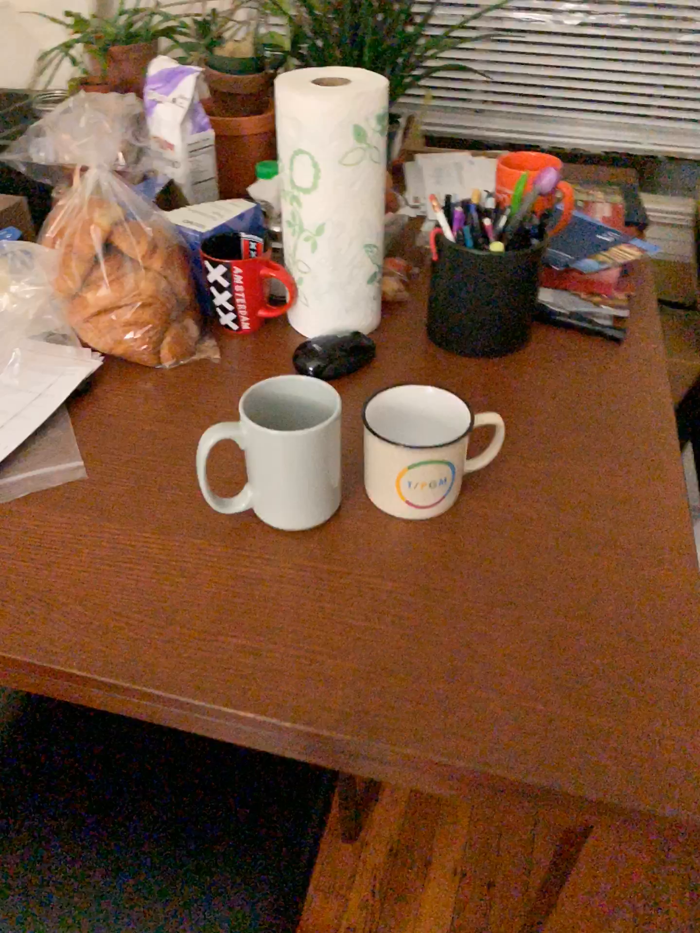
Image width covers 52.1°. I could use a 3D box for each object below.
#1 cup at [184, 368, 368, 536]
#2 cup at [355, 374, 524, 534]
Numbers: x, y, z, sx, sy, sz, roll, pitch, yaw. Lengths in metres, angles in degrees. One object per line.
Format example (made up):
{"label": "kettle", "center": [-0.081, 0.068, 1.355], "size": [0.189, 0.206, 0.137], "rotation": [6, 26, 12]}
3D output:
{"label": "cup", "center": [-0.059, -0.013, 0.619], "size": [0.140, 0.099, 0.101], "rotation": [-2, 40, -3]}
{"label": "cup", "center": [0.073, -0.012, 0.646], "size": [0.130, 0.099, 0.101], "rotation": [-2, 40, -2]}
